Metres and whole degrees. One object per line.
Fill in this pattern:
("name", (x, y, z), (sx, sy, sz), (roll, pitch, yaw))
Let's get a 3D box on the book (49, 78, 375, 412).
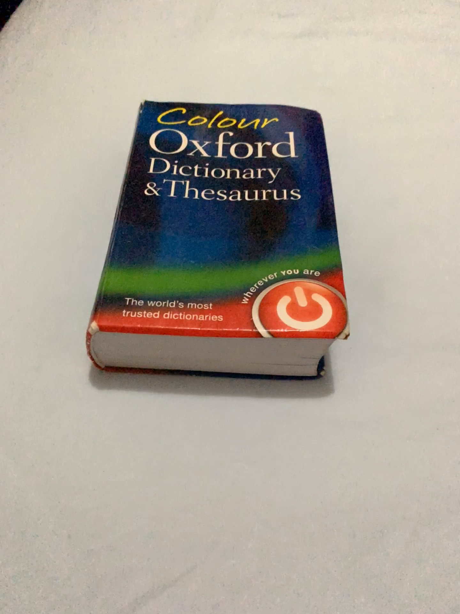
("book", (-0.003, -0.042, 0.241), (0.120, 0.040, 0.181), (0, 57, 4))
